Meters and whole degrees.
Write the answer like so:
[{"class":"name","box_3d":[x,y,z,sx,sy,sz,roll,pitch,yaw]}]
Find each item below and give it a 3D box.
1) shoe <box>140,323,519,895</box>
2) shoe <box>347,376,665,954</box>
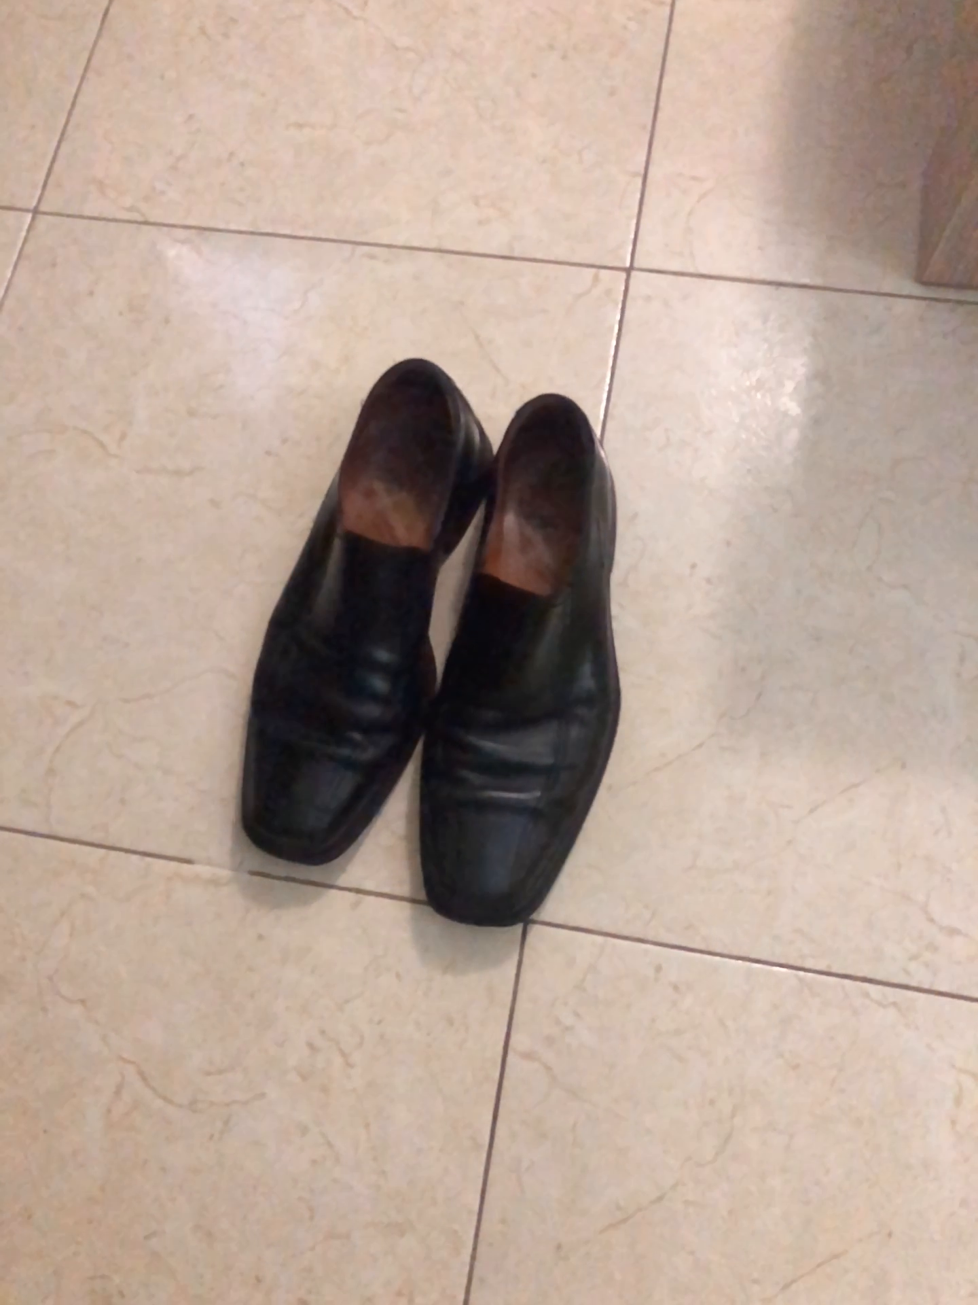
[{"class":"shoe","box_3d":[-0.081,-0.029,0.646,0.120,0.090,0.310,13,73,9]},{"class":"shoe","box_3d":[0.018,0.004,0.633,0.120,0.090,0.310,9,72,7]}]
